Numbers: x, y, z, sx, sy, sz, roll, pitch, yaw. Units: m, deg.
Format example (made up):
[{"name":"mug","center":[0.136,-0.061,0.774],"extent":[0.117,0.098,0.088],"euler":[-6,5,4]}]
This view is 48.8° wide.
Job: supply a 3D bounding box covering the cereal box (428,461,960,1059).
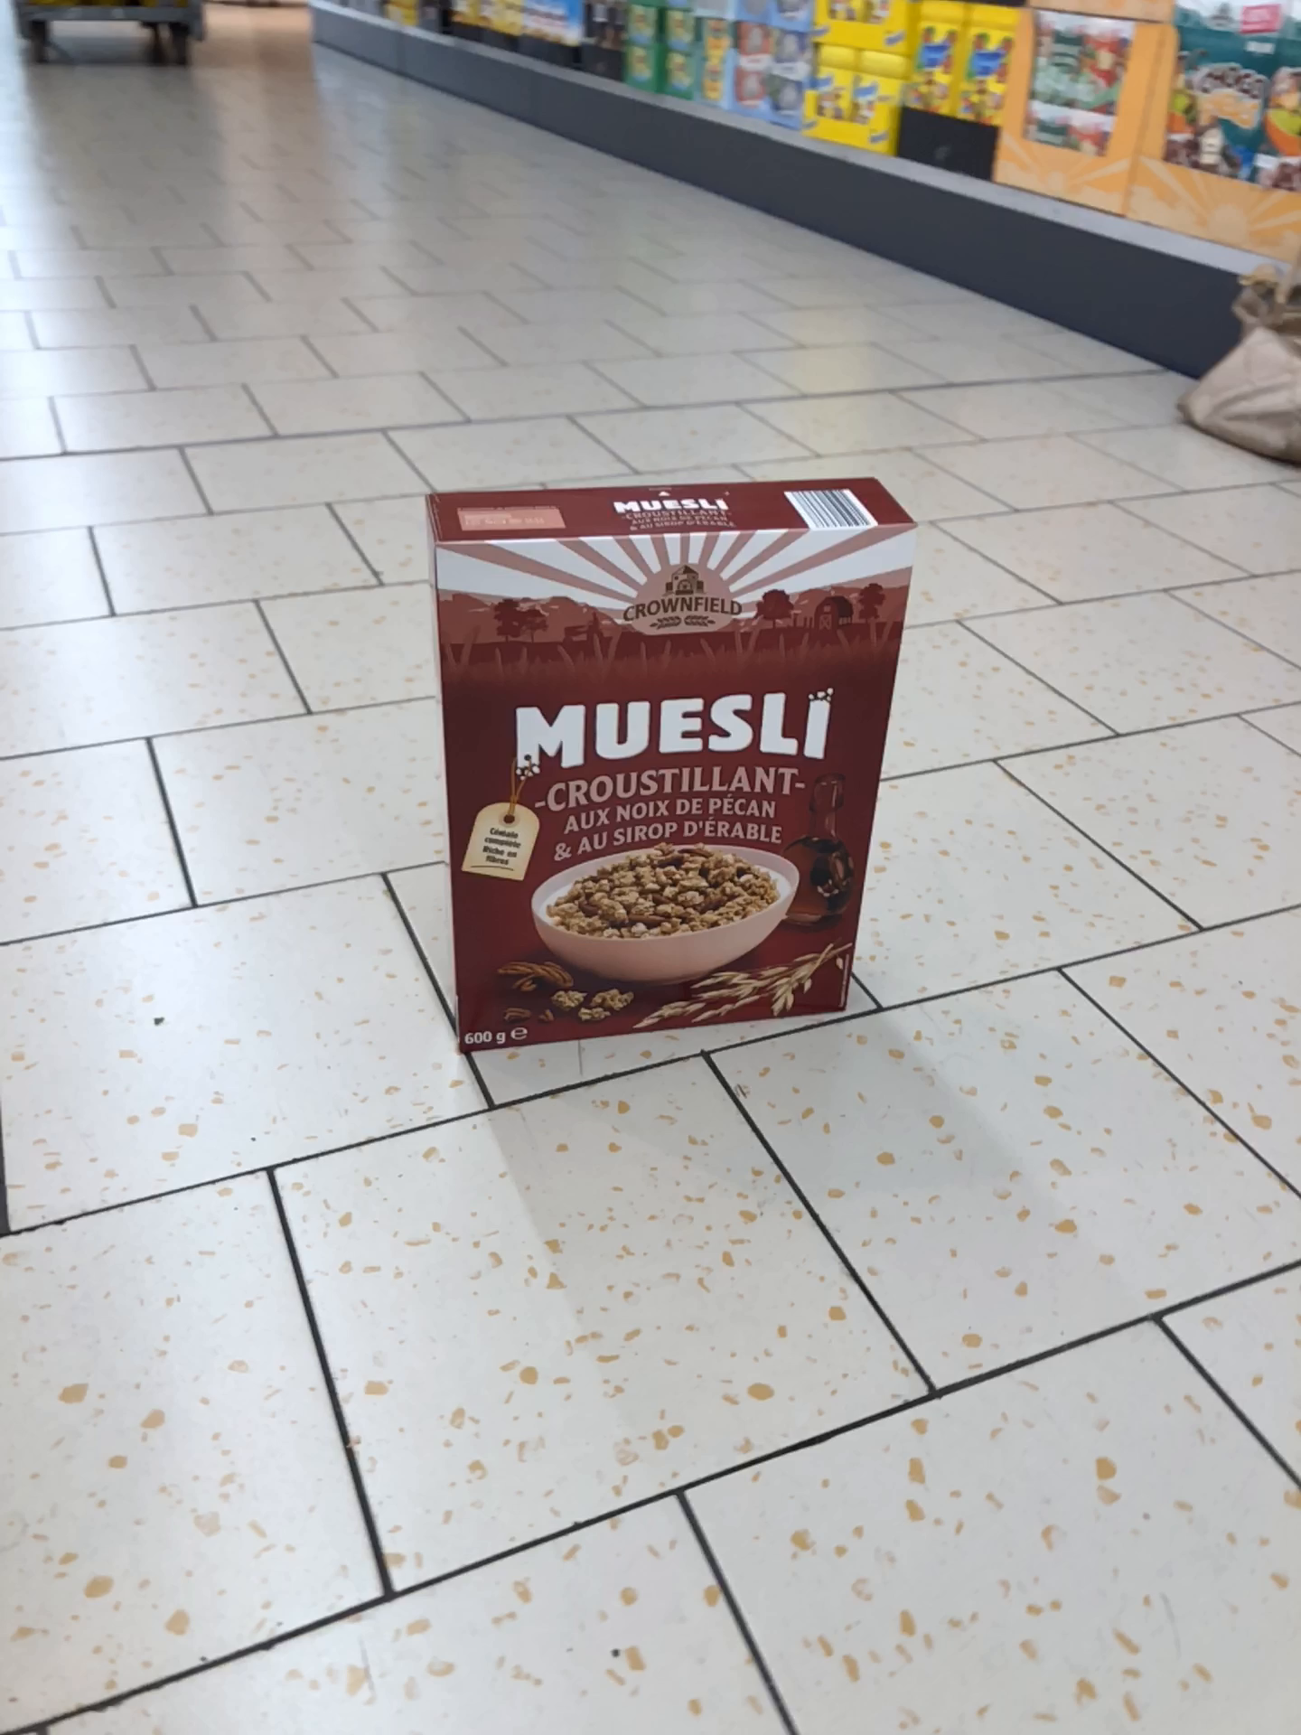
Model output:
[{"name":"cereal box","center":[0.012,-0.042,0.626],"extent":[0.200,0.248,0.060],"euler":[-4,33,-10]}]
